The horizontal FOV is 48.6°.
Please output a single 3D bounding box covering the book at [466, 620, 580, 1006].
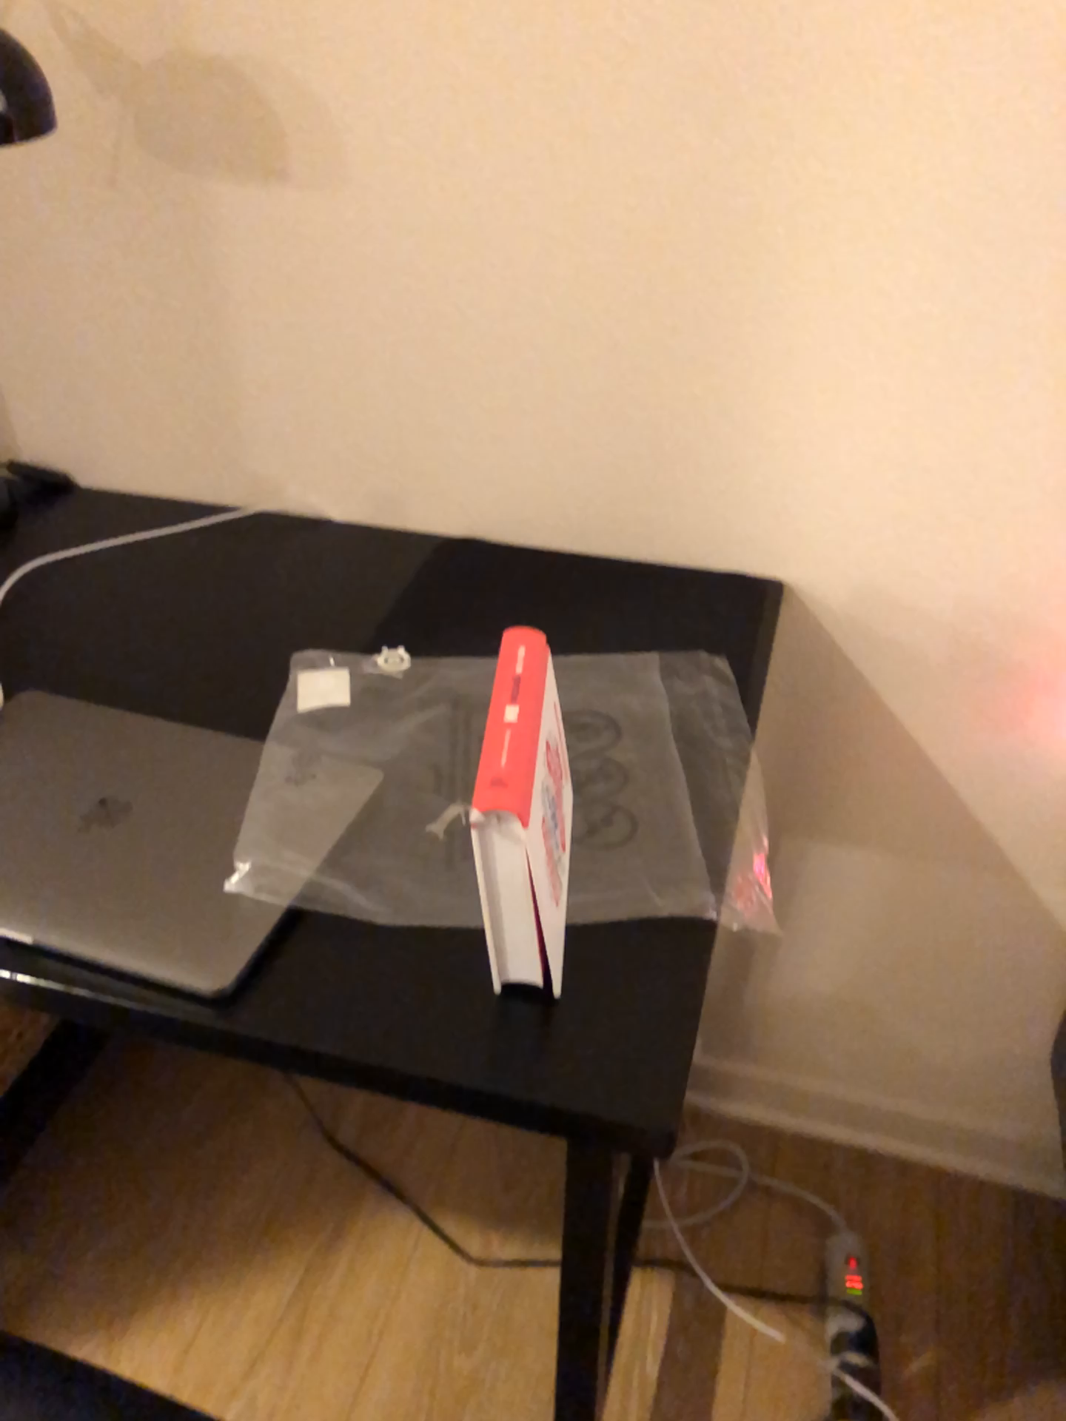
[{"bbox_3d":[-0.004,0.054,0.711,0.050,0.129,0.201,4,35,2],"label":"book"}]
